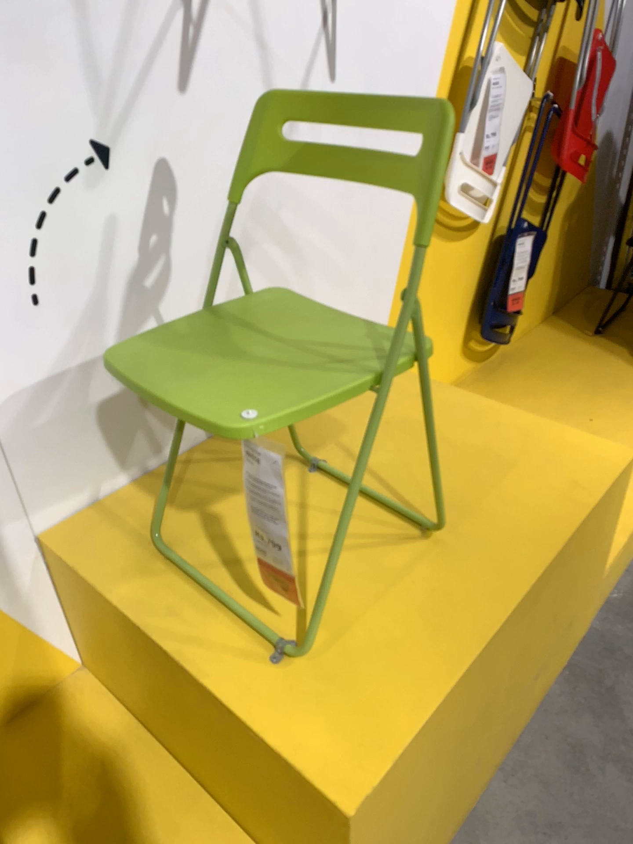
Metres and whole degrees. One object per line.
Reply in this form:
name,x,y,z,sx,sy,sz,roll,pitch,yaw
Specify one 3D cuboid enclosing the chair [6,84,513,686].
chair,-0.056,-0.095,1.006,0.451,0.717,0.461,25,42,36
